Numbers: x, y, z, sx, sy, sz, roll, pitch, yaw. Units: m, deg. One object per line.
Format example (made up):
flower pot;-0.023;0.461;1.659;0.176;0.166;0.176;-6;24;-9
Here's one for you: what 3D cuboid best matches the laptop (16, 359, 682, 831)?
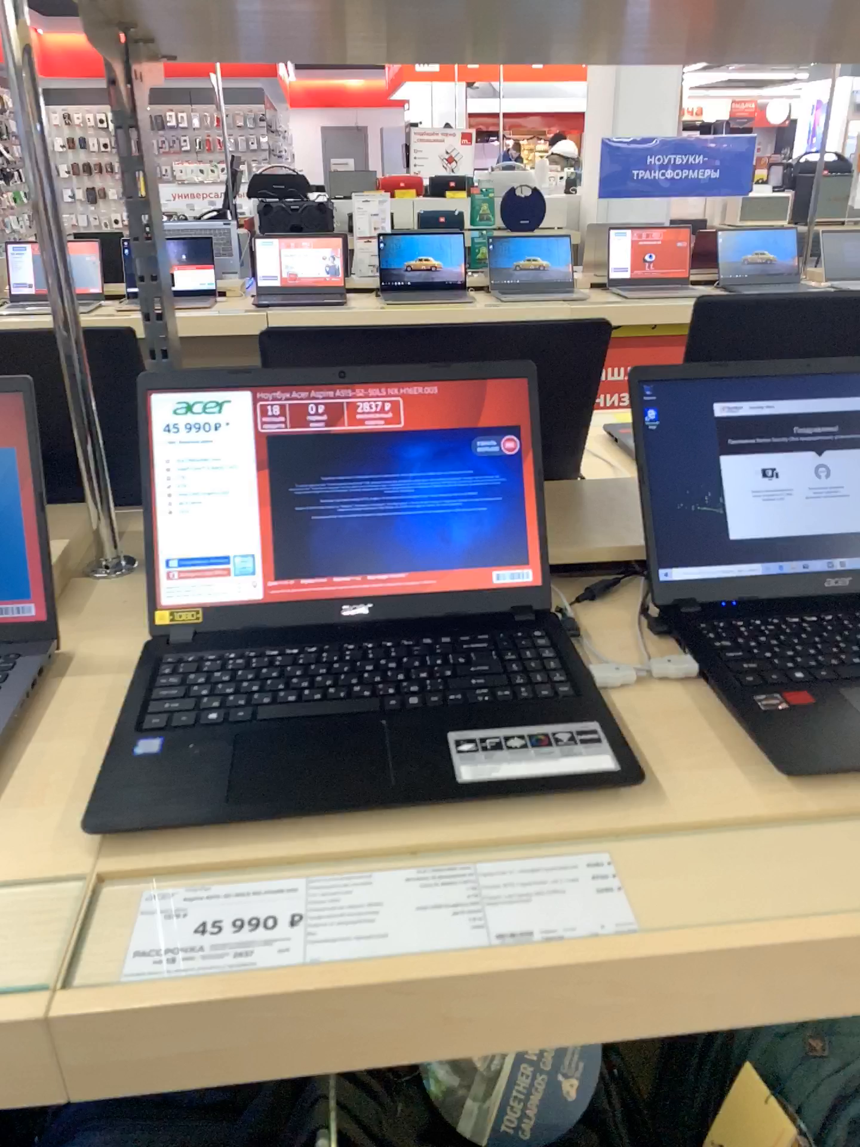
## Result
laptop;-0.059;-0.021;0.690;0.368;0.208;0.366;-3;25;-6
